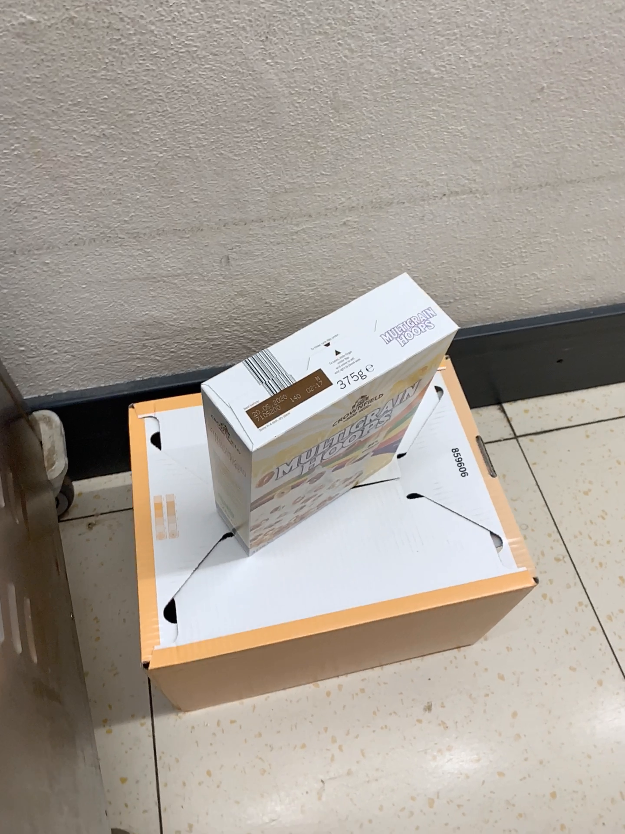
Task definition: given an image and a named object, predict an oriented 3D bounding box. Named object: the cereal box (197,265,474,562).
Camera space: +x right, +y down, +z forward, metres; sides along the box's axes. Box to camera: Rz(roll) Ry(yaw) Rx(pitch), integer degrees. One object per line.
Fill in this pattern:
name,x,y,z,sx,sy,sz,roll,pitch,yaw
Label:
cereal box,0.009,0.011,0.571,0.201,0.248,0.070,-31,70,-21
